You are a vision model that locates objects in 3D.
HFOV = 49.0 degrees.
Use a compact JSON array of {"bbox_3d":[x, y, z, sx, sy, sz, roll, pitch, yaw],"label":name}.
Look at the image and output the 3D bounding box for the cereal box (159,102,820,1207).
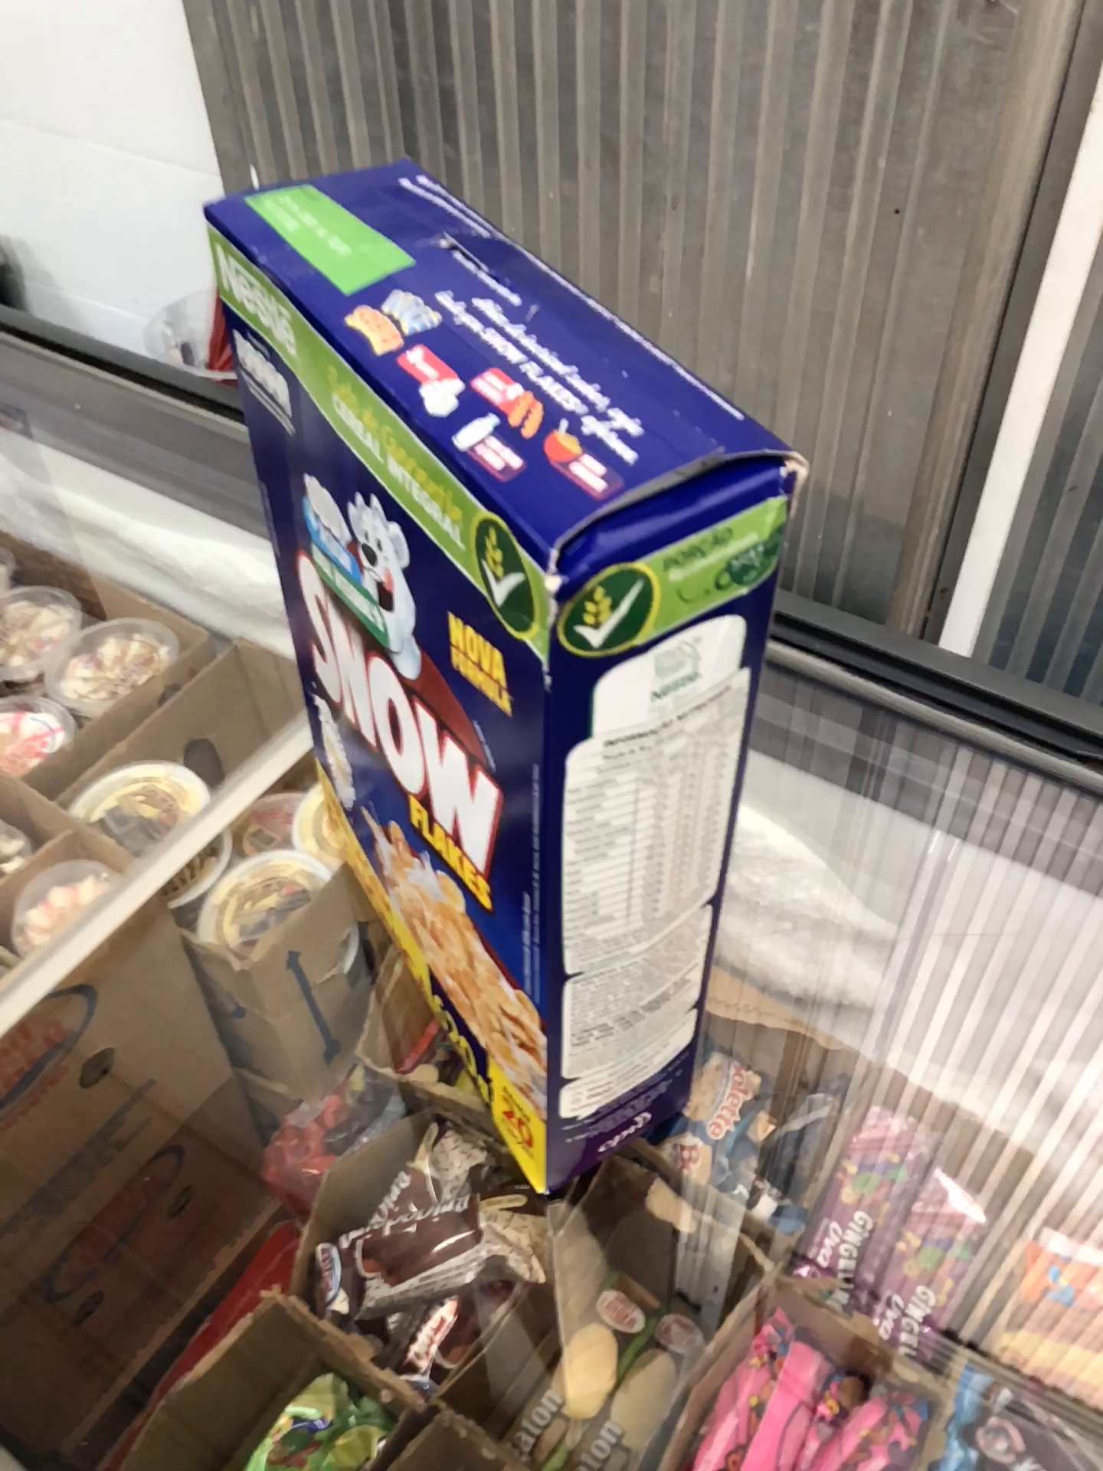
[{"bbox_3d":[-0.028,-0.015,0.422,0.070,0.308,0.231,-24,50,-19],"label":"cereal box"}]
